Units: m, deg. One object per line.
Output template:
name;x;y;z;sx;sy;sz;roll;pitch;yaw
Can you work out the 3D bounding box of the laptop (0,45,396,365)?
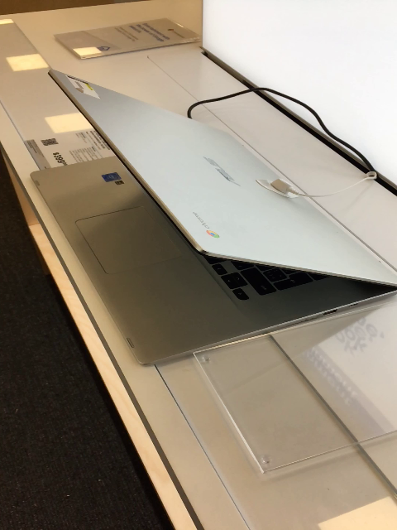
laptop;-0.007;-0.089;0.545;0.263;0.132;0.344;-19;48;-18
